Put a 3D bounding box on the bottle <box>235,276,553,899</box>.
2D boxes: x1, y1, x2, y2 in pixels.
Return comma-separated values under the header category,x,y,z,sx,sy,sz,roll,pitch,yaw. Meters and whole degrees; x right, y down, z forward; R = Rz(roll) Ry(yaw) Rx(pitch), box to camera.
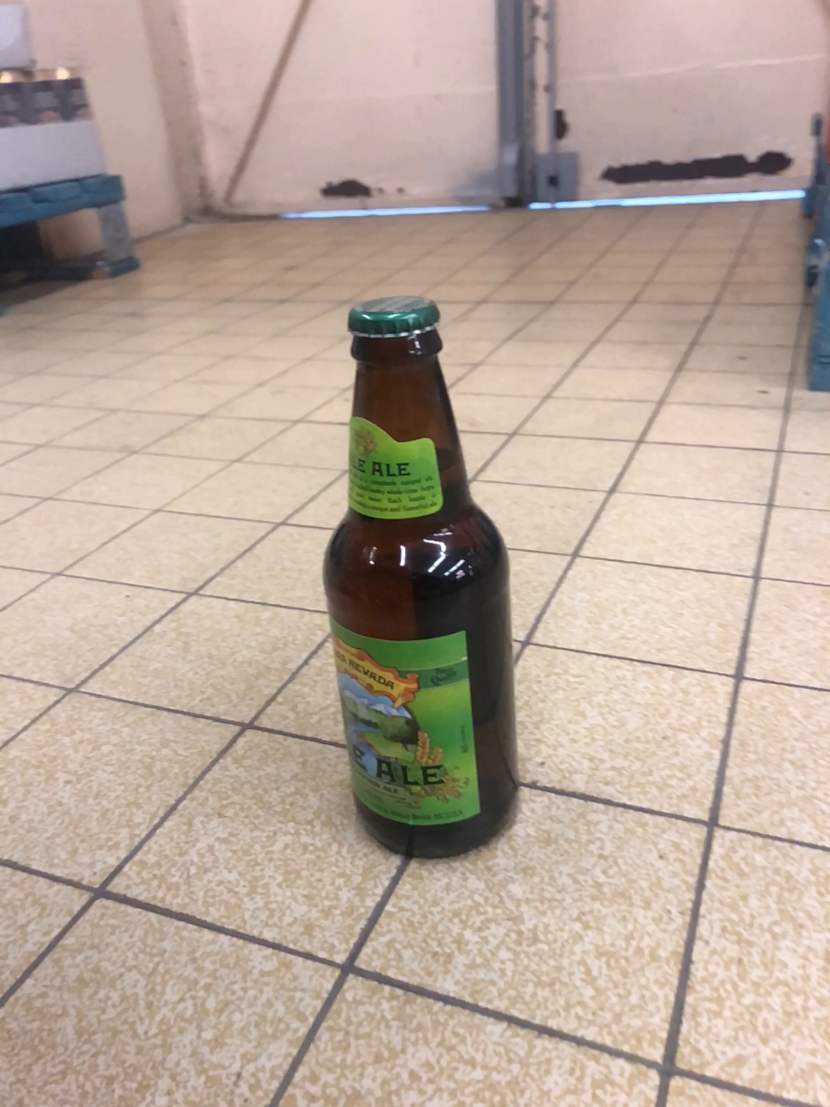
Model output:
category,x,y,z,sx,sy,sz,roll,pitch,yaw
bottle,0.000,0.011,0.310,0.060,0.189,0.070,17,33,39
